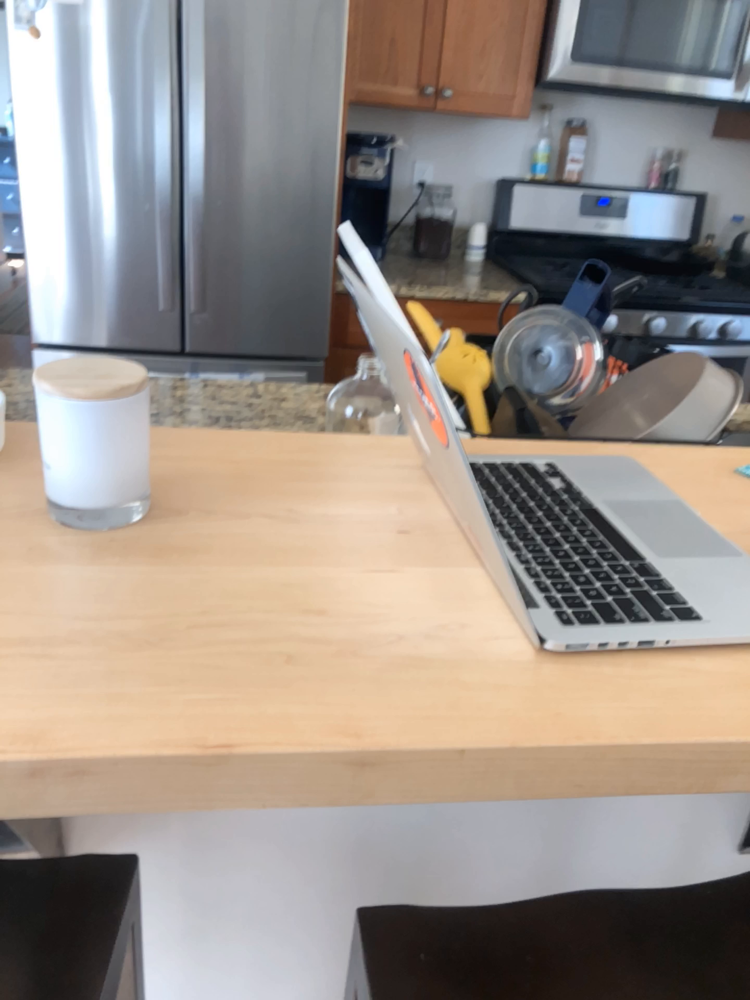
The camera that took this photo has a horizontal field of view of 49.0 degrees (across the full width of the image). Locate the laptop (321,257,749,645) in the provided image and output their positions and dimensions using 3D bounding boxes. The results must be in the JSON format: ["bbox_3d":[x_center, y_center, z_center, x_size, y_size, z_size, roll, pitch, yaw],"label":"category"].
[{"bbox_3d":[0.144,-0.063,0.668,0.323,0.188,0.324,0,26,-12],"label":"laptop"}]
